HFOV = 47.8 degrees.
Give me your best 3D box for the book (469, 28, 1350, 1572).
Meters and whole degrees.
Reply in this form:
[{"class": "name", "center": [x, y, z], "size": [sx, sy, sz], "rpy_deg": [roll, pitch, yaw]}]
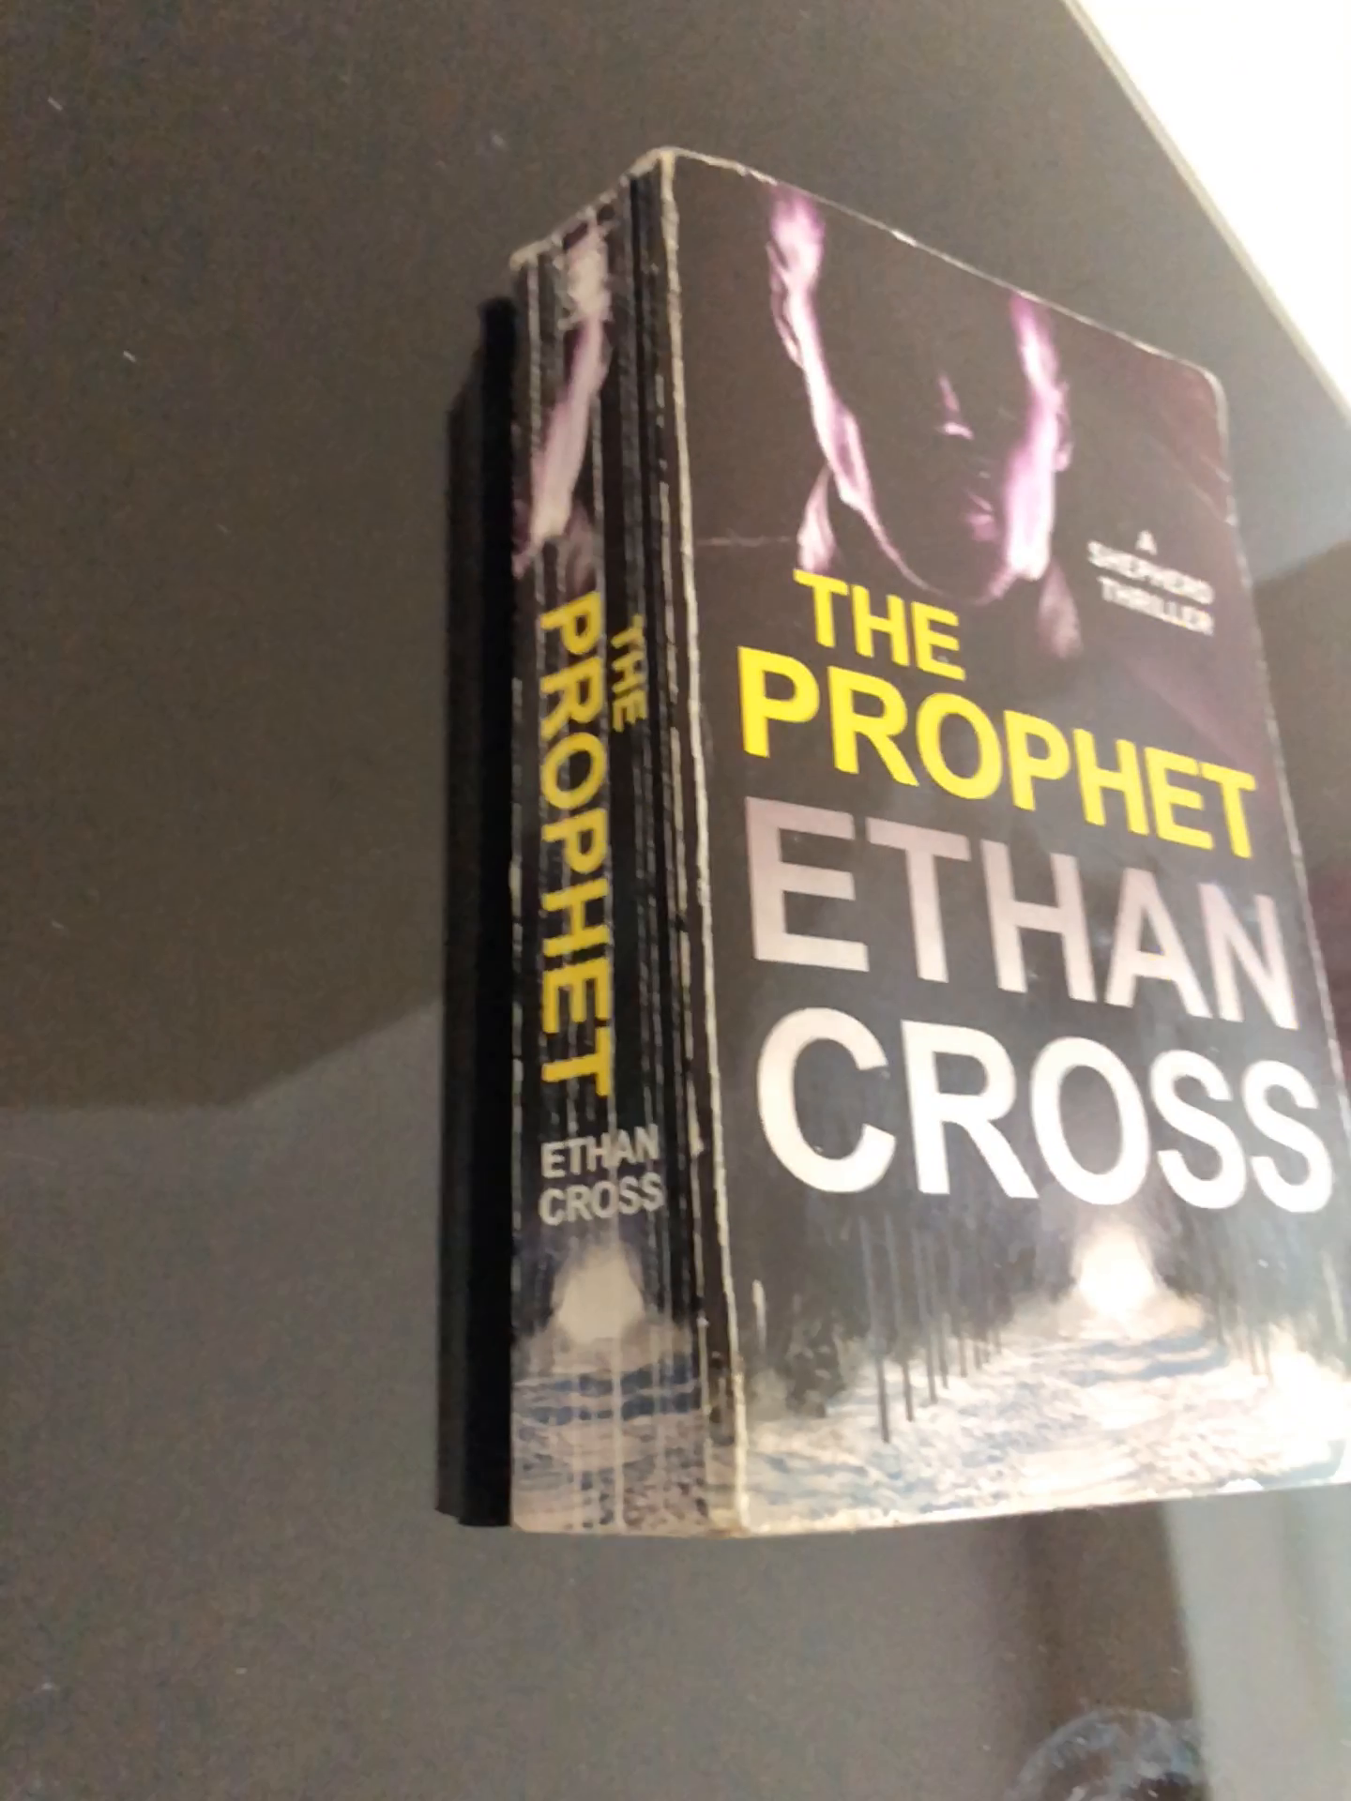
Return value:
[{"class": "book", "center": [0.034, -0.011, 0.211], "size": [0.115, 0.040, 0.179], "rpy_deg": [9, 69, -31]}]
